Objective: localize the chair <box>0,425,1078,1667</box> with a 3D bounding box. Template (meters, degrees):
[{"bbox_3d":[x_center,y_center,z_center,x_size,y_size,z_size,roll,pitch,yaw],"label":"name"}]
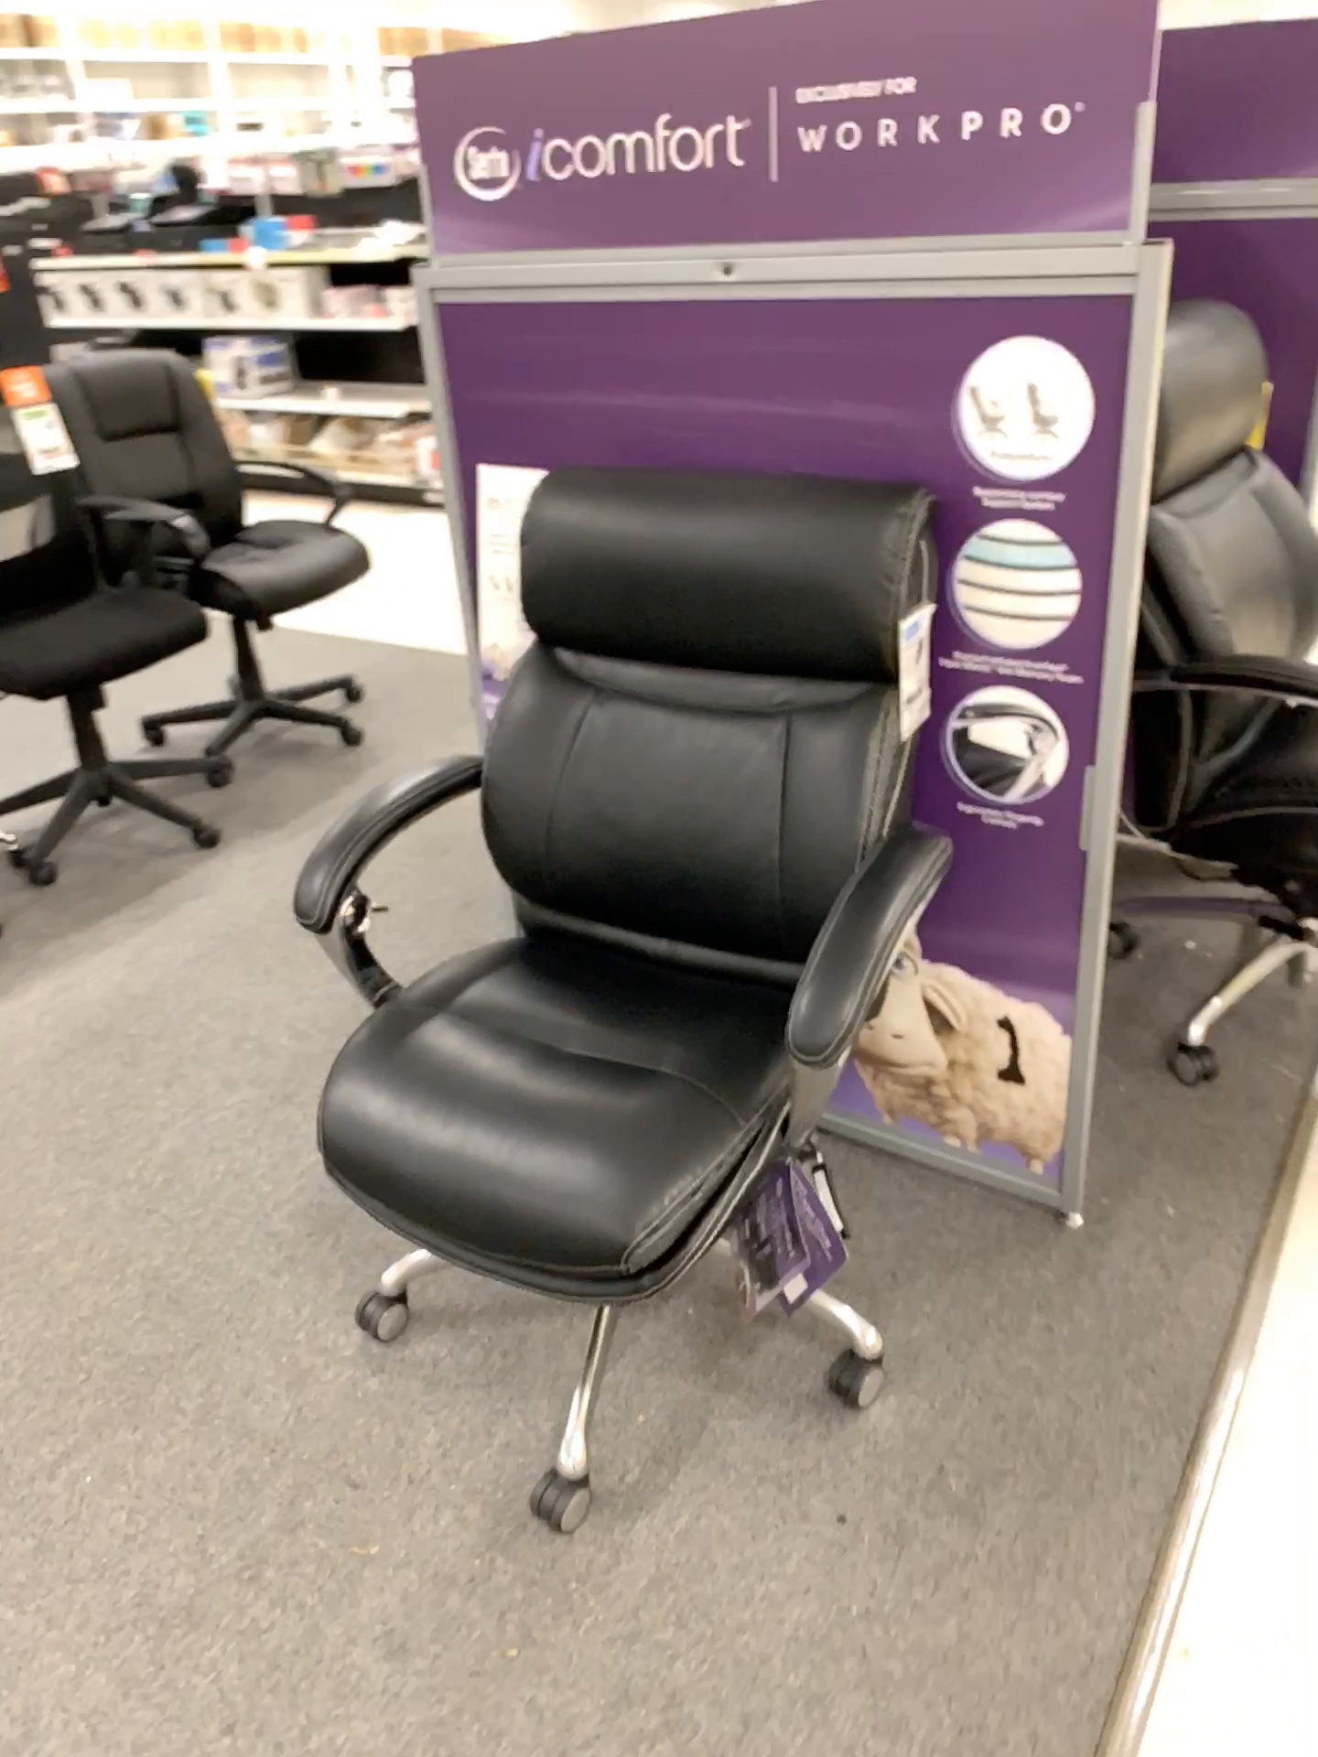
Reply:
[{"bbox_3d":[-0.074,0.076,1.494,0.772,0.955,0.722,14,33,30],"label":"chair"}]
